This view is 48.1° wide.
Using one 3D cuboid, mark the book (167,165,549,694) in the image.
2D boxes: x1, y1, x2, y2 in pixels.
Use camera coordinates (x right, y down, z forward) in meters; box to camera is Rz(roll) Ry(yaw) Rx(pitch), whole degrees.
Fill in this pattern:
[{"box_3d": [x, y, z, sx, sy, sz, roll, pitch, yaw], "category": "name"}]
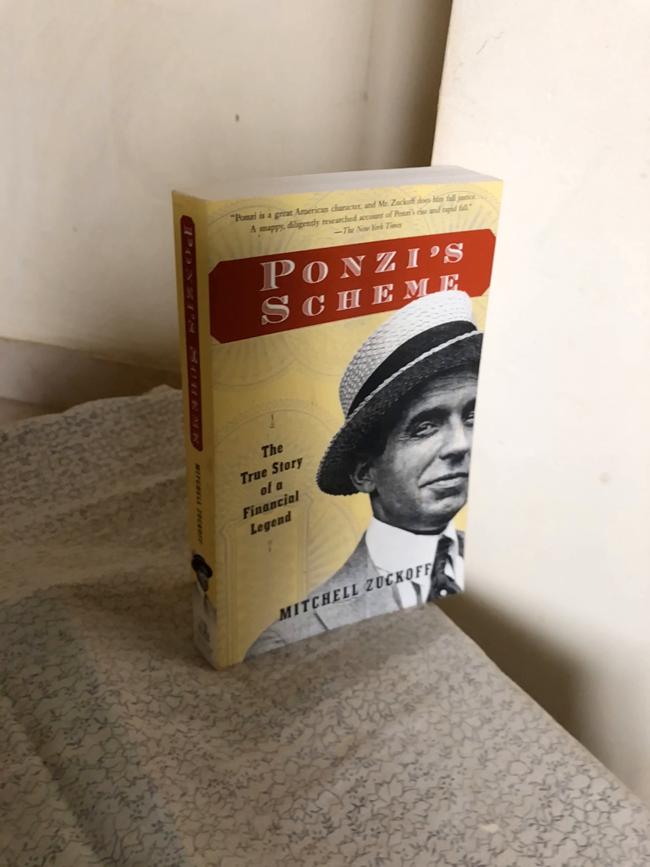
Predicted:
[{"box_3d": [0.013, -0.001, 0.317, 0.140, 0.209, 0.040, -13, 32, -26], "category": "book"}]
